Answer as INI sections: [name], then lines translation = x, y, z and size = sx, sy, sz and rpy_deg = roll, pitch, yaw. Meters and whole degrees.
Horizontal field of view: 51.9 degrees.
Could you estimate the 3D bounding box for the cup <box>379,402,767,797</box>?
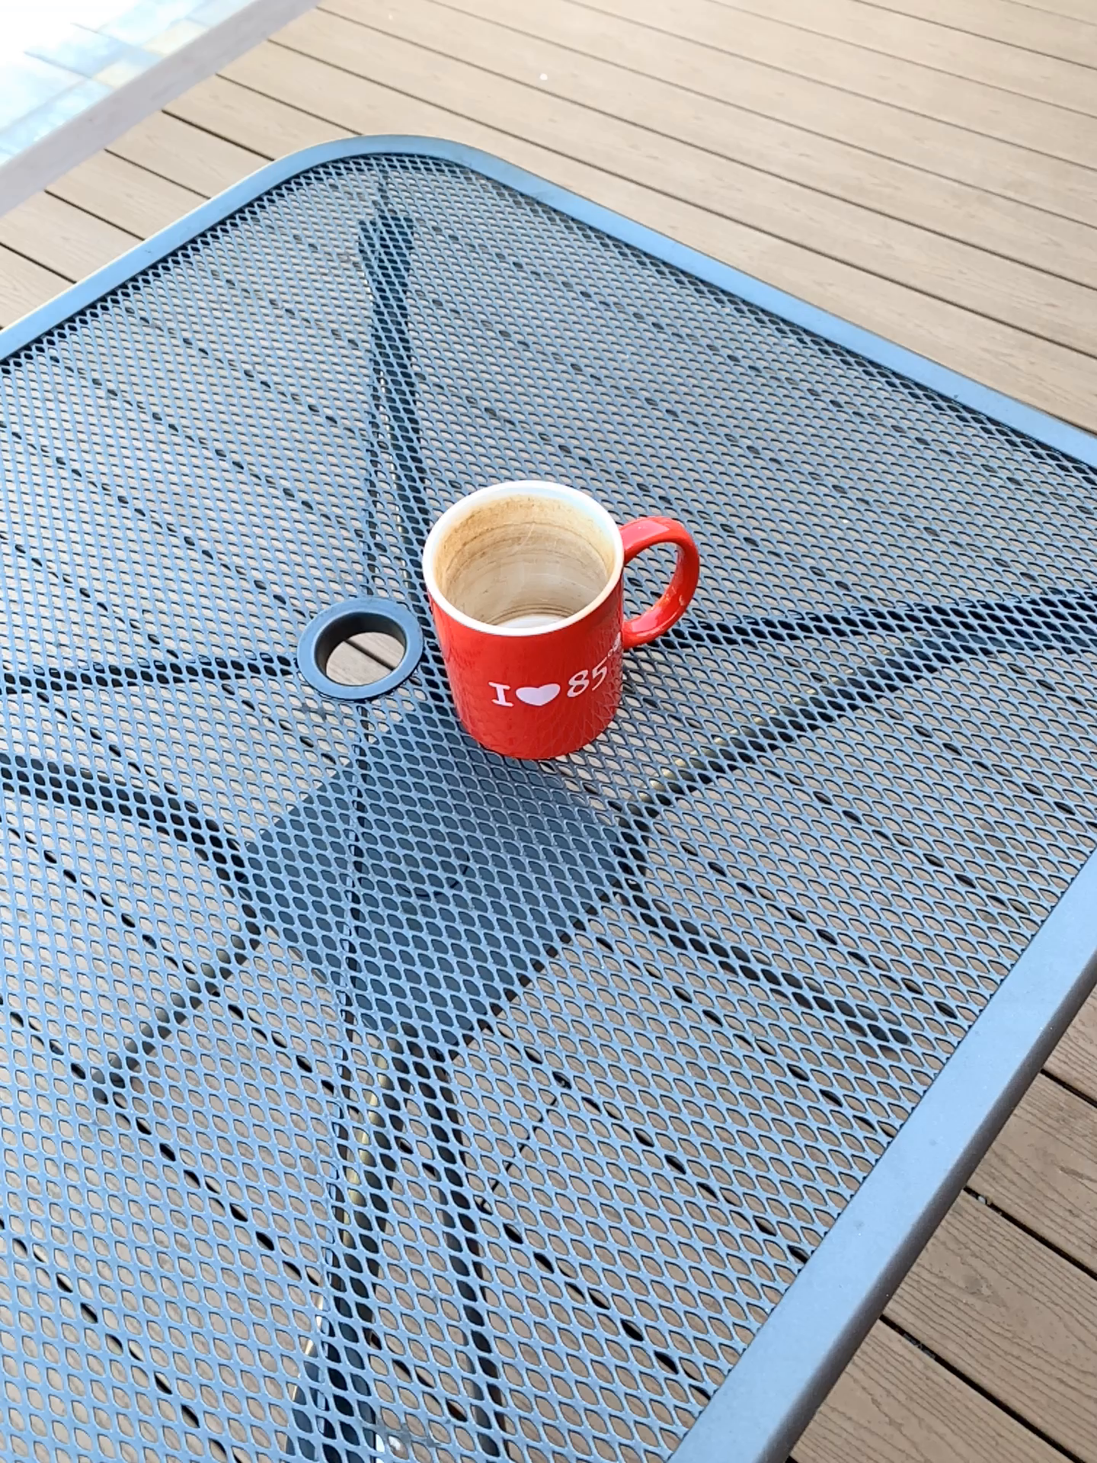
[cup]
translation = 0.011, -0.057, 0.499
size = 0.130, 0.100, 0.090
rpy_deg = -25, 62, -10
